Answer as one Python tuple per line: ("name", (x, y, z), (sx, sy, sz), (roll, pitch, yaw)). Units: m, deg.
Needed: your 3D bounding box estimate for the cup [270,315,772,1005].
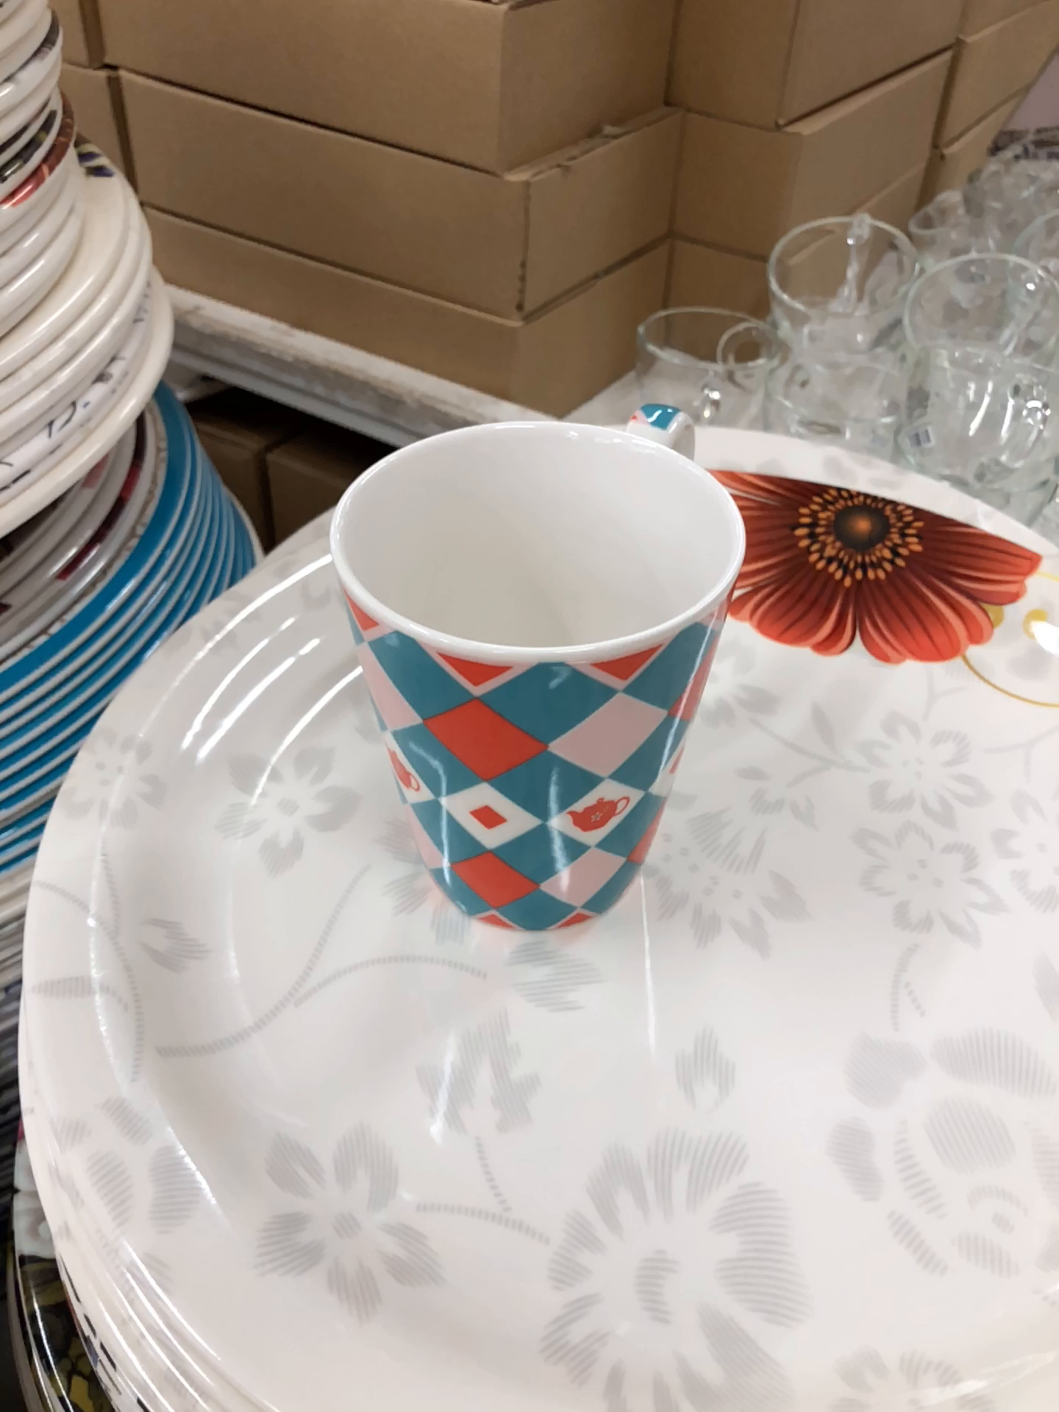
("cup", (0.005, -0.018, 0.293), (0.080, 0.099, 0.131), (11, 42, 9))
